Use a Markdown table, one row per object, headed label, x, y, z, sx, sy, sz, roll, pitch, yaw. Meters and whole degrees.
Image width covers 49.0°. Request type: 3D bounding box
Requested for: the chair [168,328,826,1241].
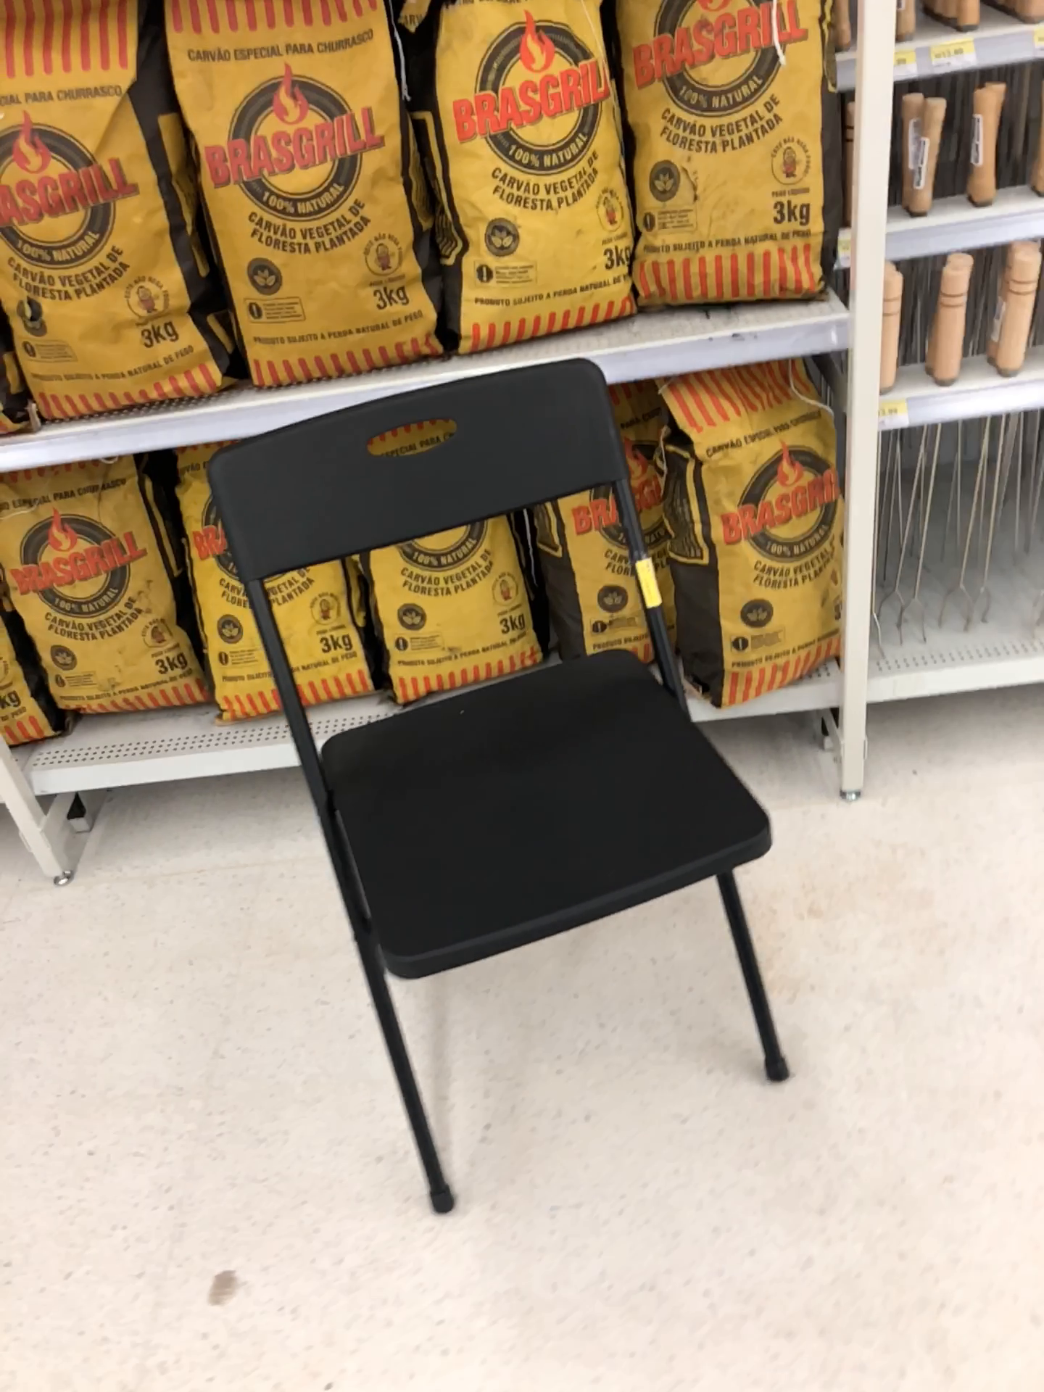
| label | x | y | z | sx | sy | sz | roll | pitch | yaw |
| --- | --- | --- | --- | --- | --- | --- | --- | --- | --- |
| chair | -0.009 | 0.087 | 1.191 | 0.460 | 0.715 | 0.453 | -17 | 36 | -10 |
